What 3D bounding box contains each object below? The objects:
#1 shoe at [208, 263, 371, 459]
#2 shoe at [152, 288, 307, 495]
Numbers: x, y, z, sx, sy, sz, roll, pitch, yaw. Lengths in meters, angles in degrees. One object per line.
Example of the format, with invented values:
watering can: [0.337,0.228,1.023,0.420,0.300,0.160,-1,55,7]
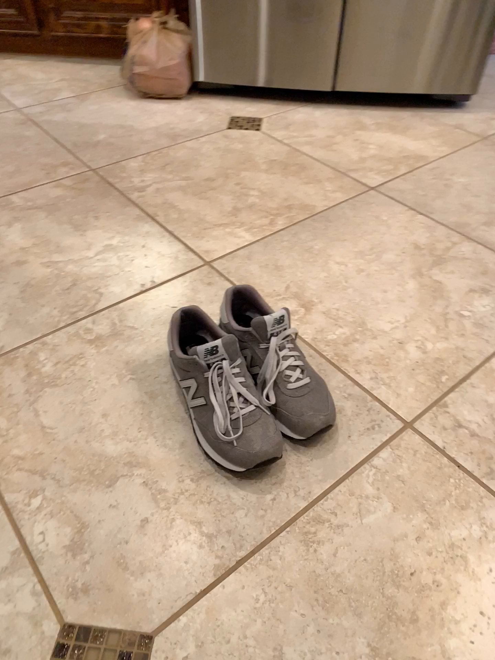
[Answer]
shoe: [0.048,0.033,0.767,0.115,0.103,0.285,-17,47,-18]
shoe: [-0.037,0.074,0.729,0.115,0.103,0.275,-17,47,-18]
